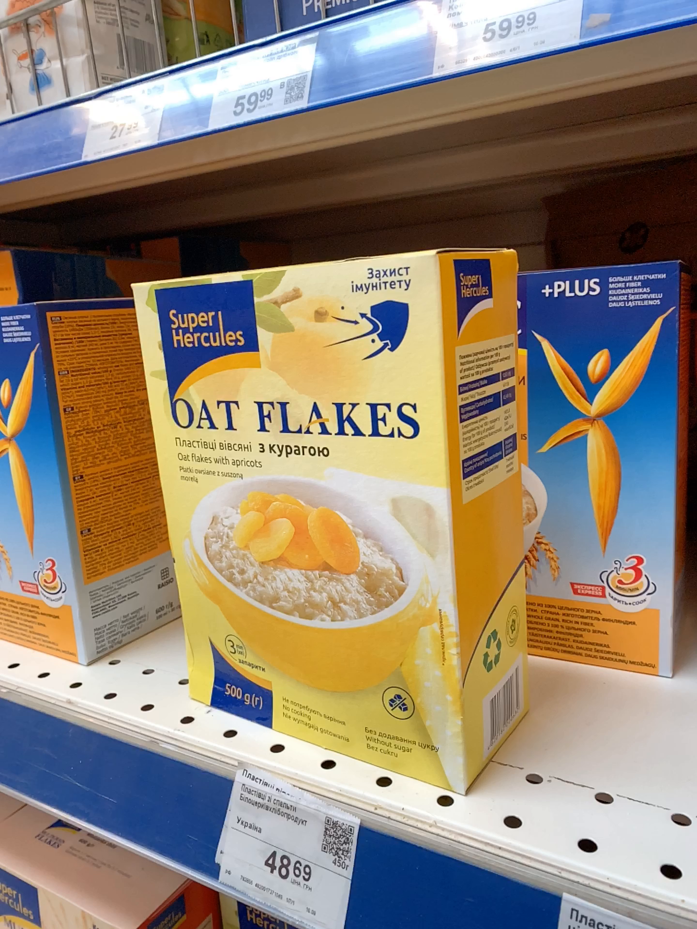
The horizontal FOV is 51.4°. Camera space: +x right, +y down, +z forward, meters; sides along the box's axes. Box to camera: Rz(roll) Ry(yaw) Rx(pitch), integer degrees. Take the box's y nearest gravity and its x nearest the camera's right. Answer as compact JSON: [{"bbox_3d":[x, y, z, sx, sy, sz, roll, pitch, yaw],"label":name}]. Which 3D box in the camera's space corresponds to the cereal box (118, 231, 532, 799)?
[{"bbox_3d":[-0.010,0.012,0.298,0.150,0.189,0.060,4,14,34],"label":"cereal box"}]
